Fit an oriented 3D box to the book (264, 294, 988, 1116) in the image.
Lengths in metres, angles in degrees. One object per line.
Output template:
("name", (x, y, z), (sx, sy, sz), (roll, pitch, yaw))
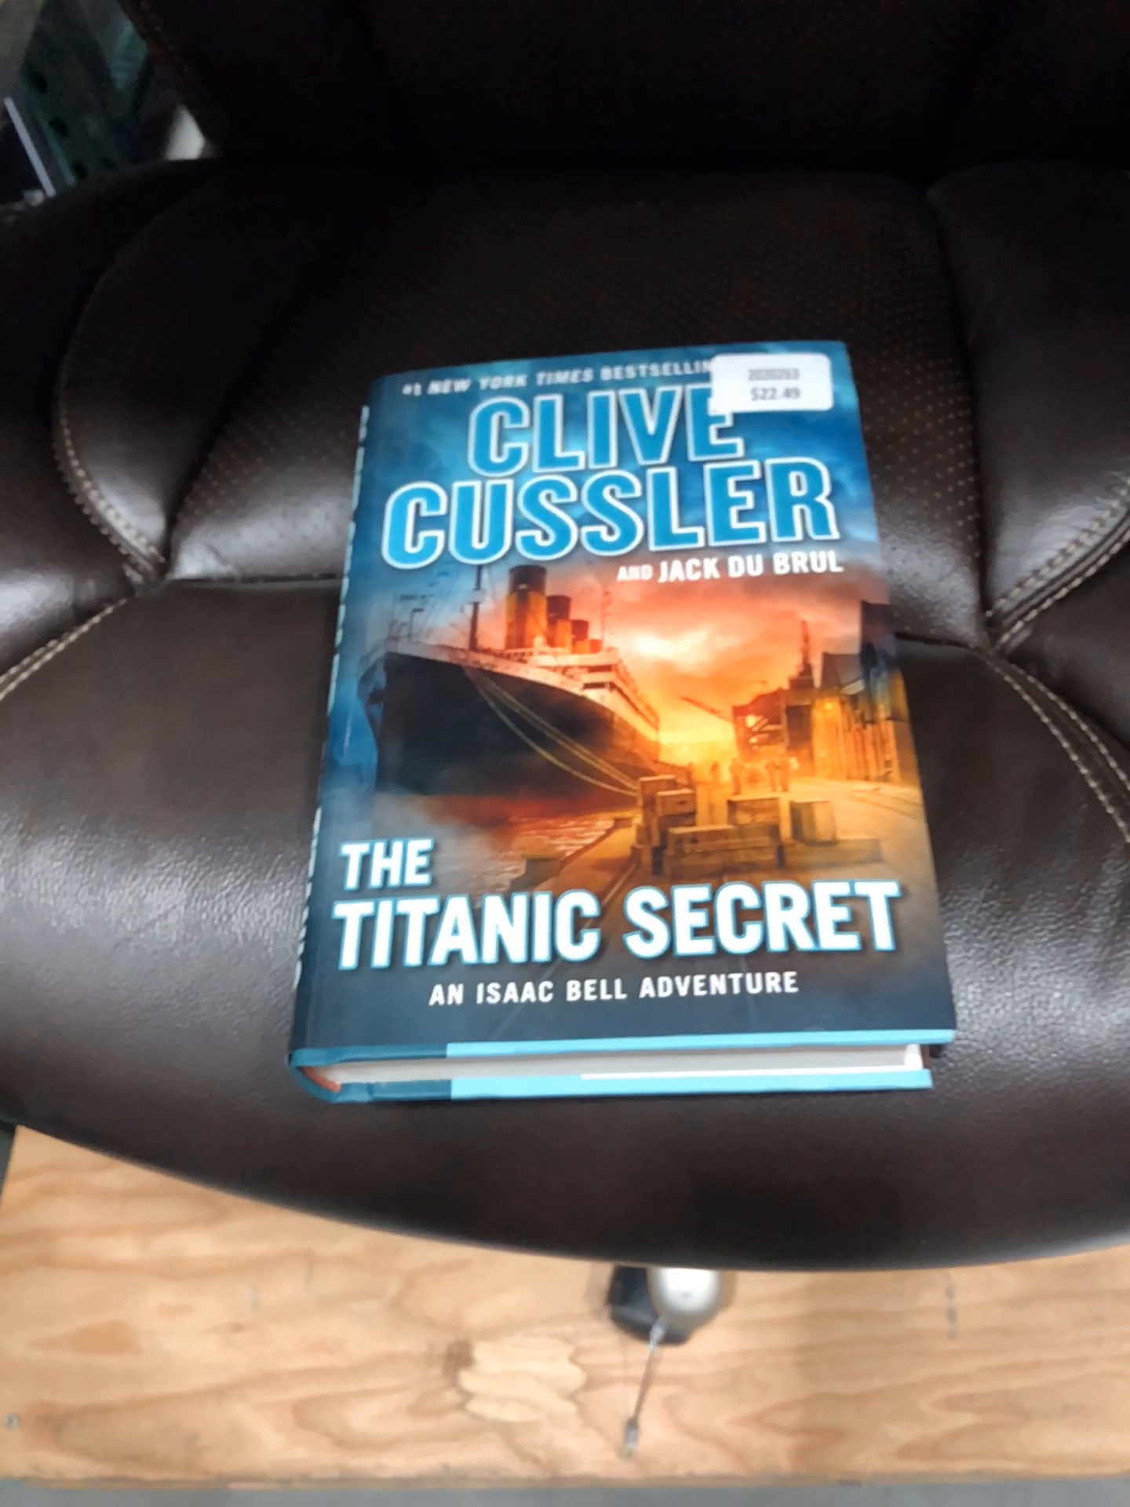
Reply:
("book", (0.015, -0.027, 0.369), (0.165, 0.040, 0.249), (-3, 59, 6))
